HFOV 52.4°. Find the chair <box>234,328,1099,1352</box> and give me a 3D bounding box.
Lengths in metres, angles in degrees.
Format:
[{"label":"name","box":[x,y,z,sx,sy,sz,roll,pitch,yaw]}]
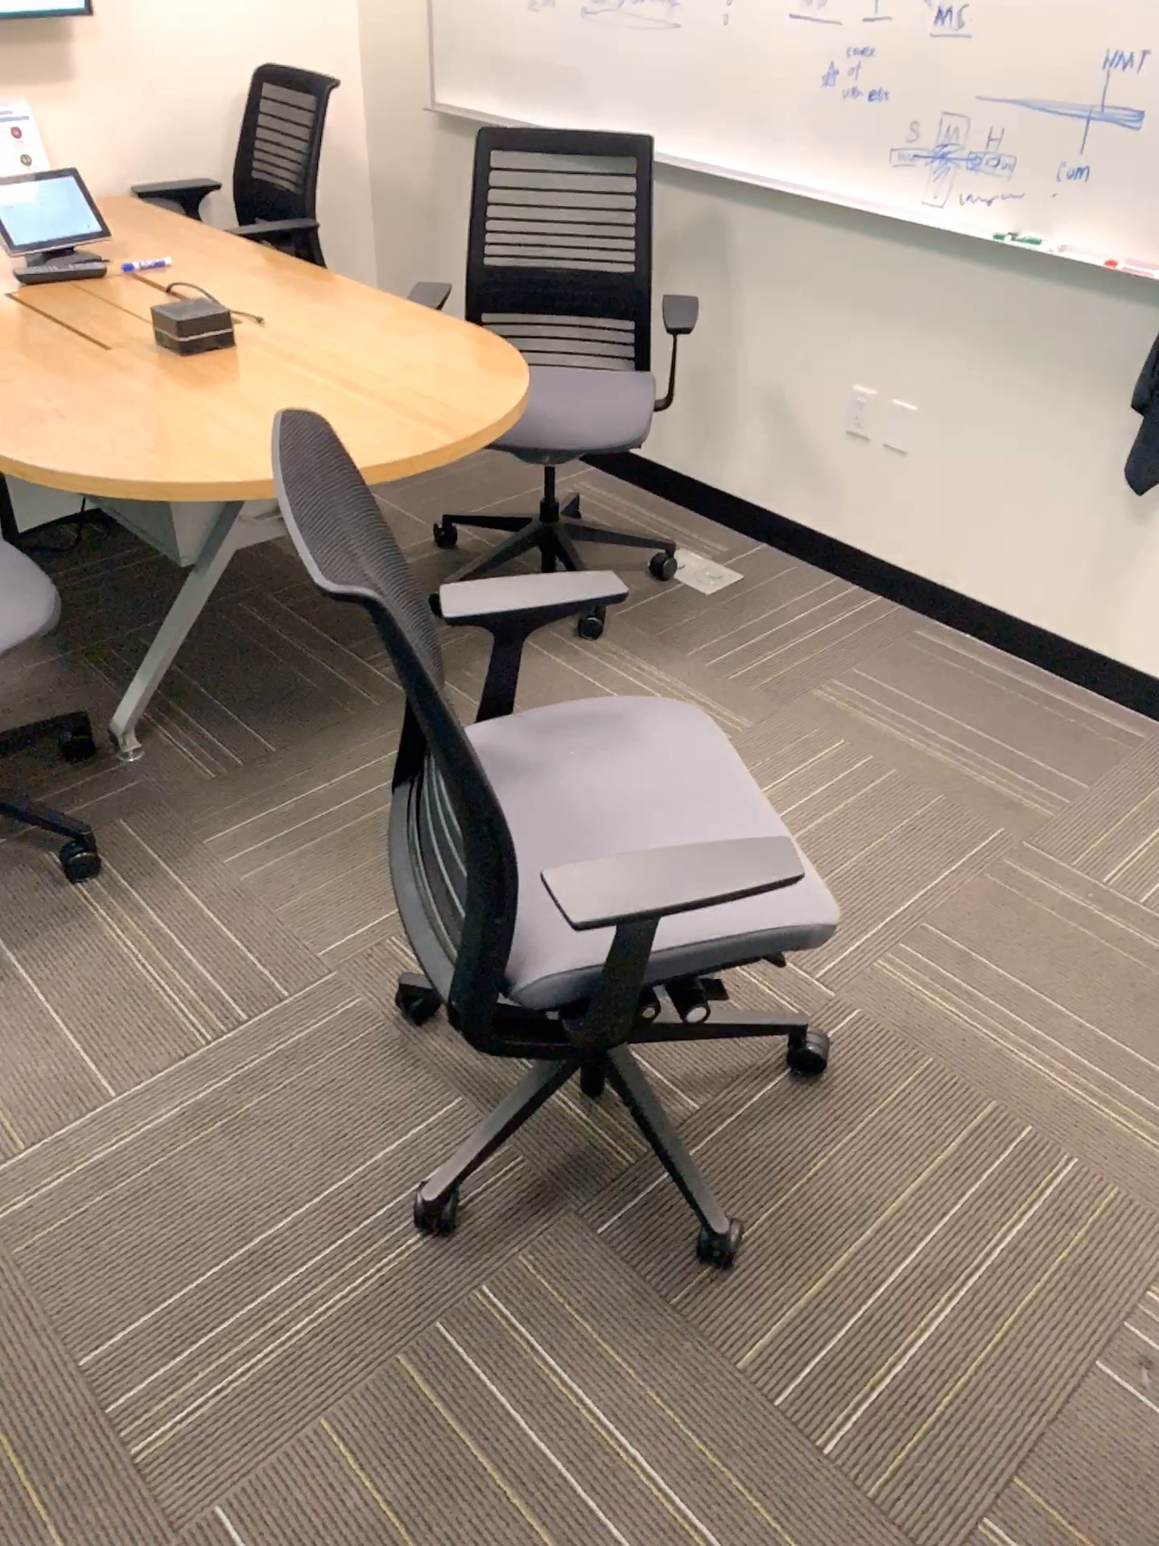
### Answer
[{"label":"chair","box":[0.008,0.072,1.467,0.690,0.994,0.654,-8,38,-12]}]
